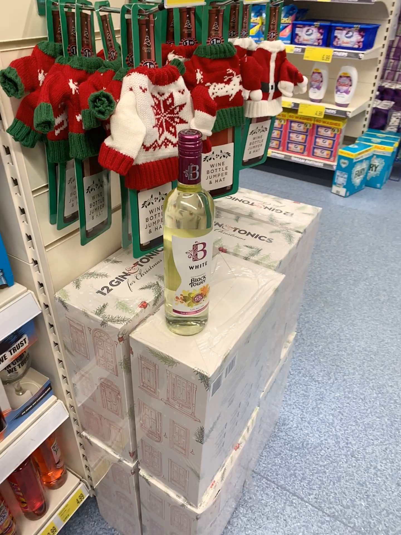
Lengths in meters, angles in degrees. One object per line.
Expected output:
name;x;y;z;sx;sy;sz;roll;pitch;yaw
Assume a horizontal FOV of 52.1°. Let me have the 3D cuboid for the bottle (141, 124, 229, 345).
bottle;-0.022;-0.036;0.565;0.081;0.288;0.081;1;34;0
